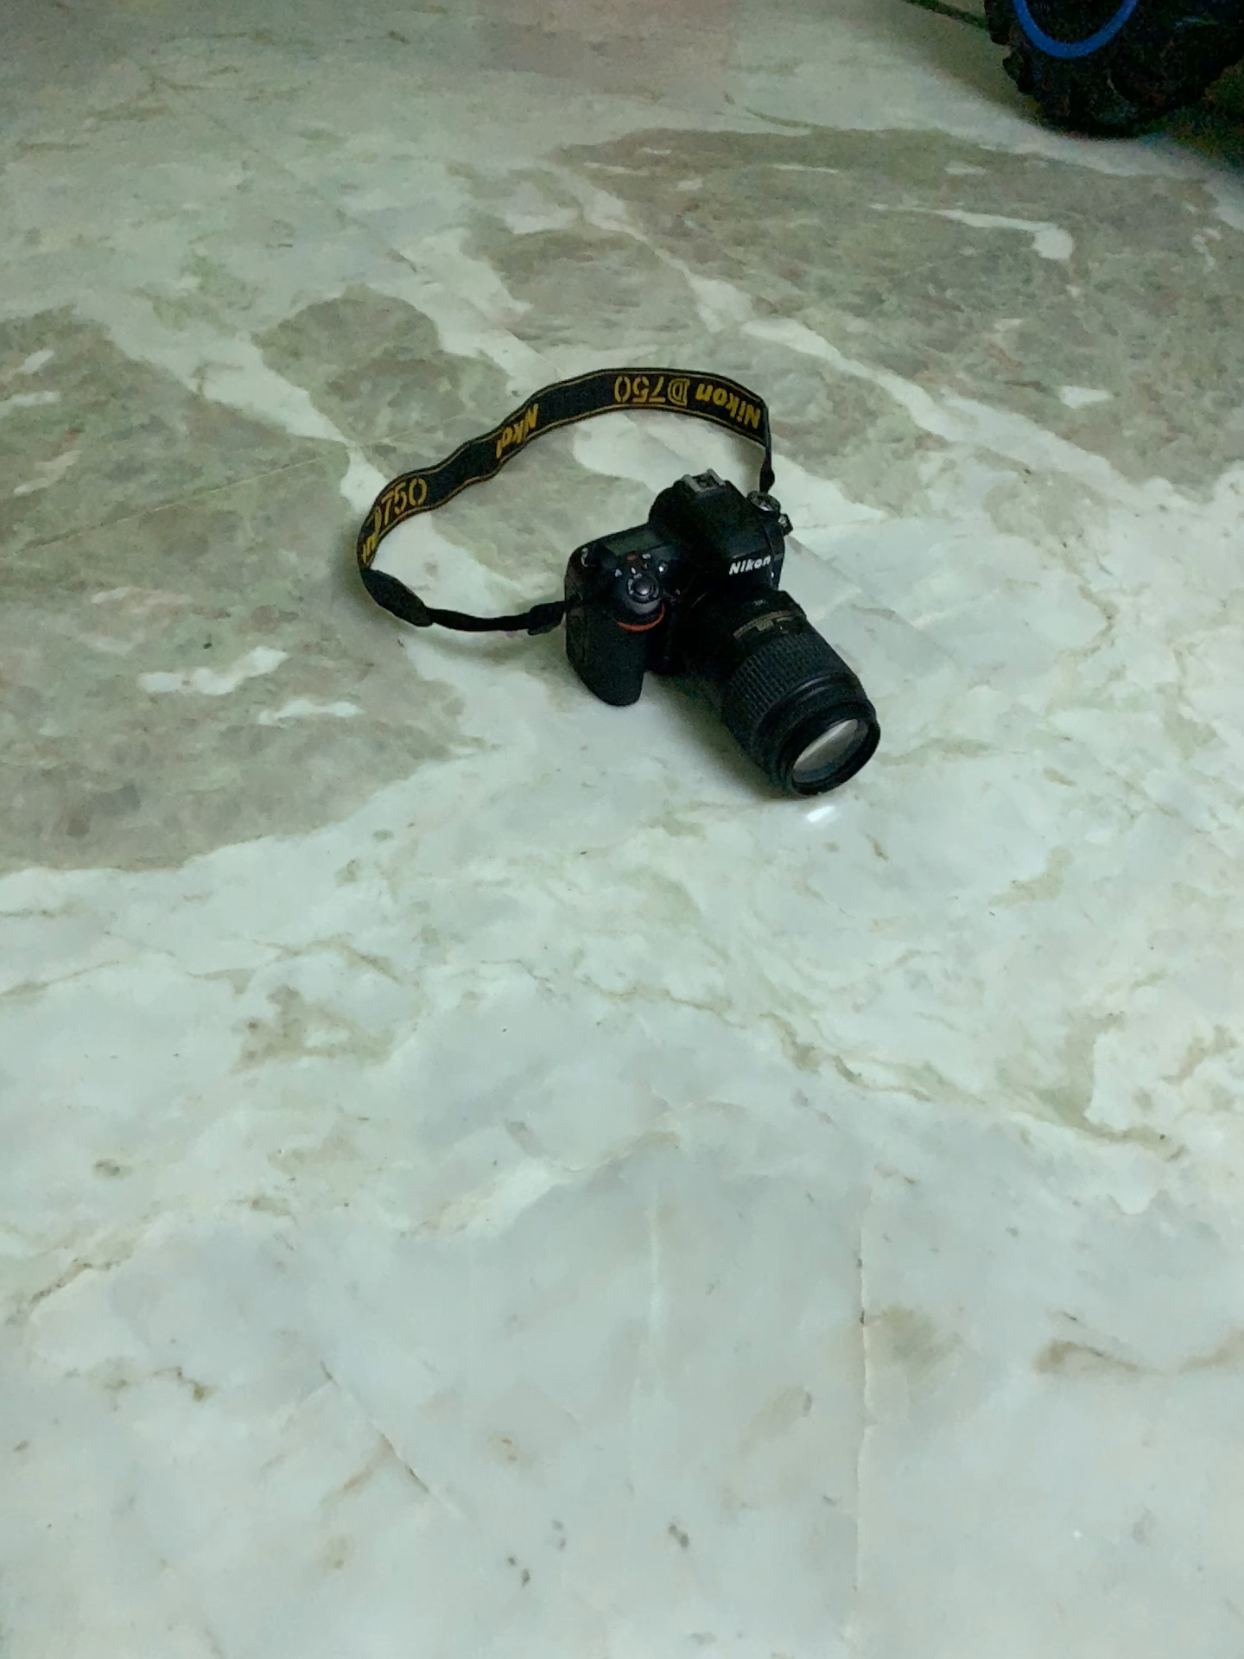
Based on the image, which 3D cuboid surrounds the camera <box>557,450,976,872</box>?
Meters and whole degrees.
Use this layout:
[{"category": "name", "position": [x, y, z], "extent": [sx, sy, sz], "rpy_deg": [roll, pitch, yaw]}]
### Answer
[{"category": "camera", "position": [0.073, -0.106, 0.752], "extent": [0.150, 0.120, 0.201], "rpy_deg": [-19, 51, -20]}]
